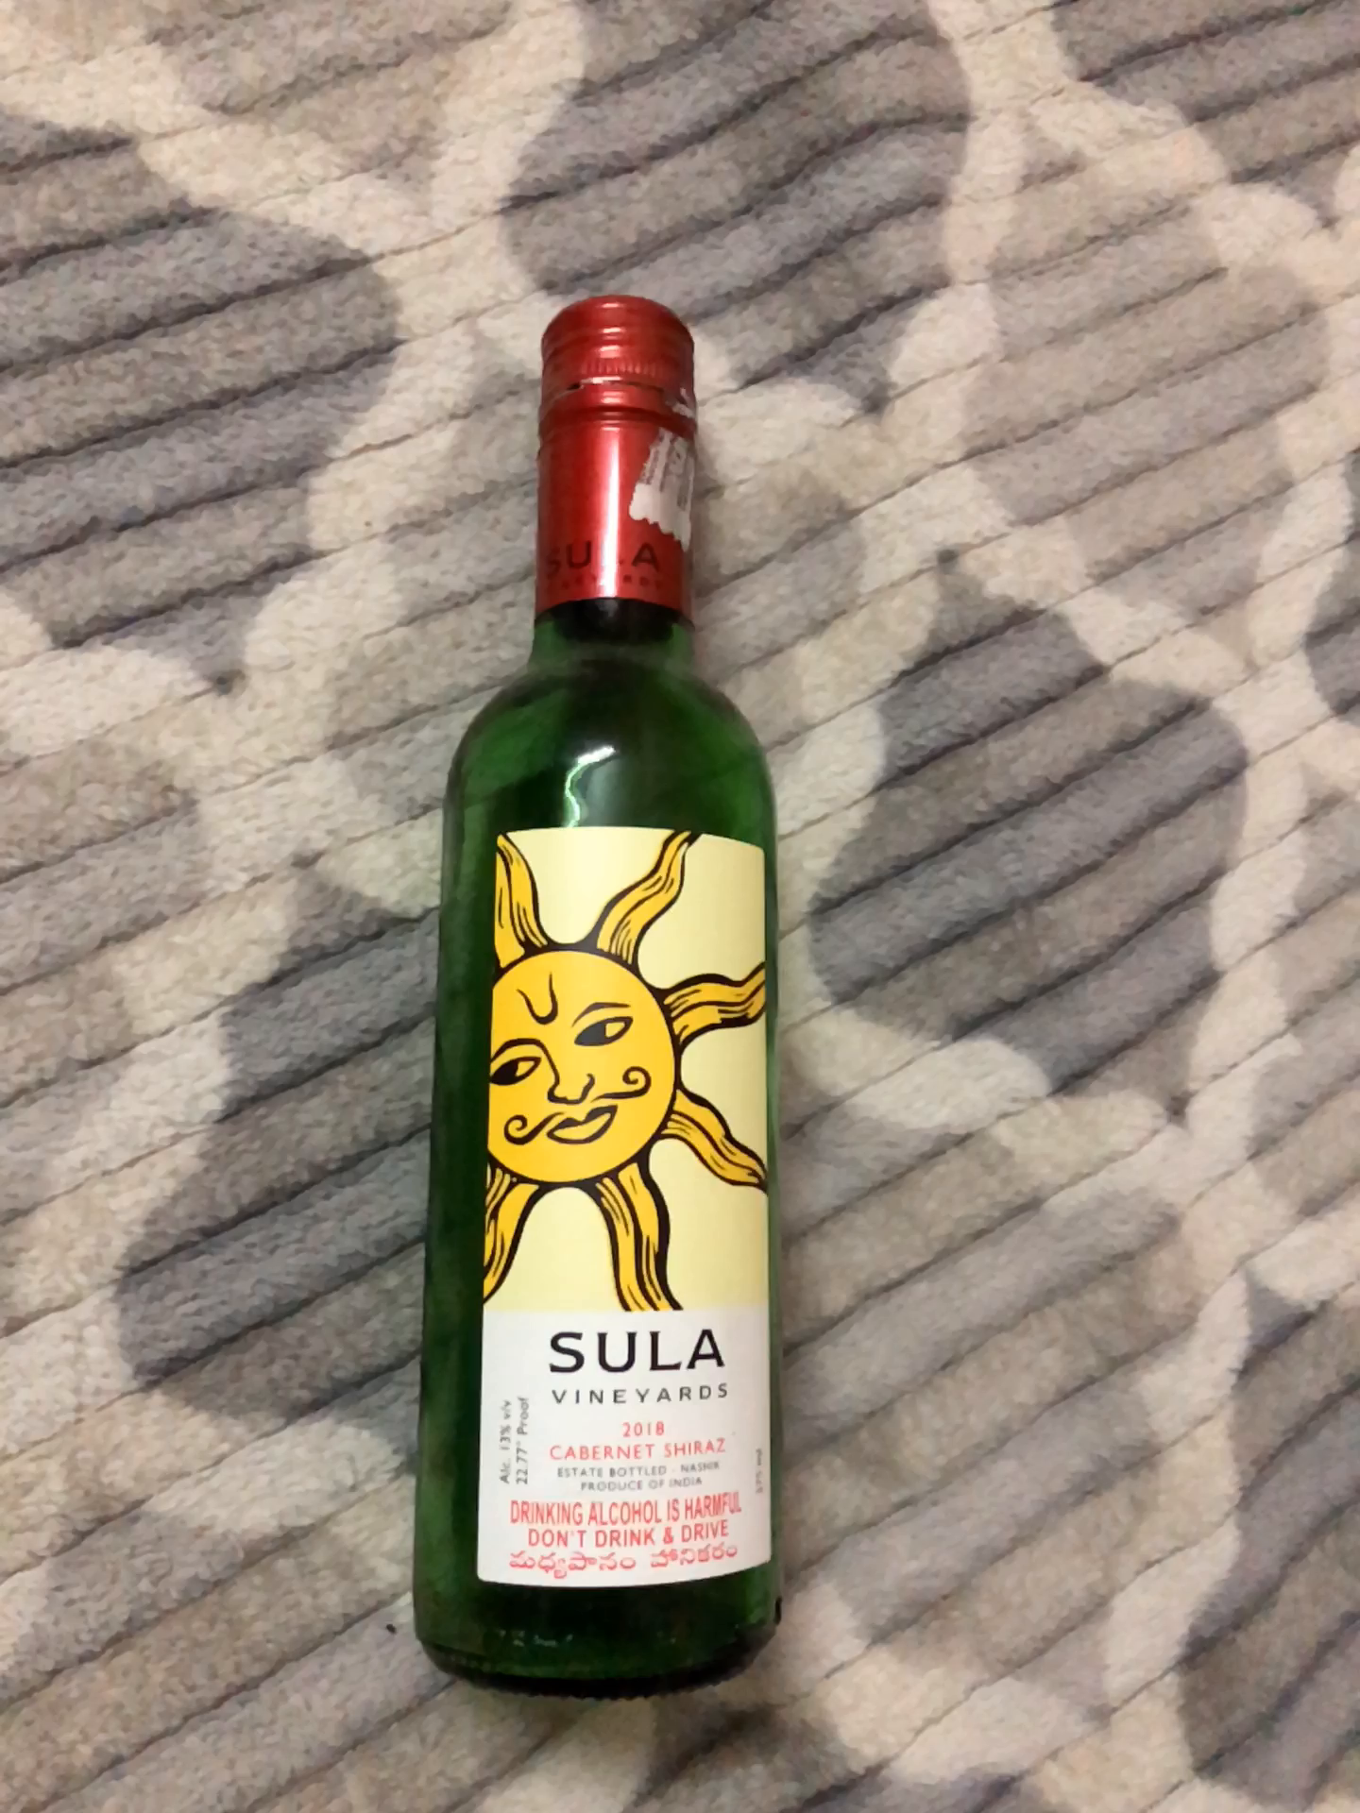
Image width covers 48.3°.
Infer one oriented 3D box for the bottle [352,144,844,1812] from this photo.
[{"bbox_3d":[-0.013,0.006,0.236,0.060,0.050,0.230,4,80,-12],"label":"bottle"}]
